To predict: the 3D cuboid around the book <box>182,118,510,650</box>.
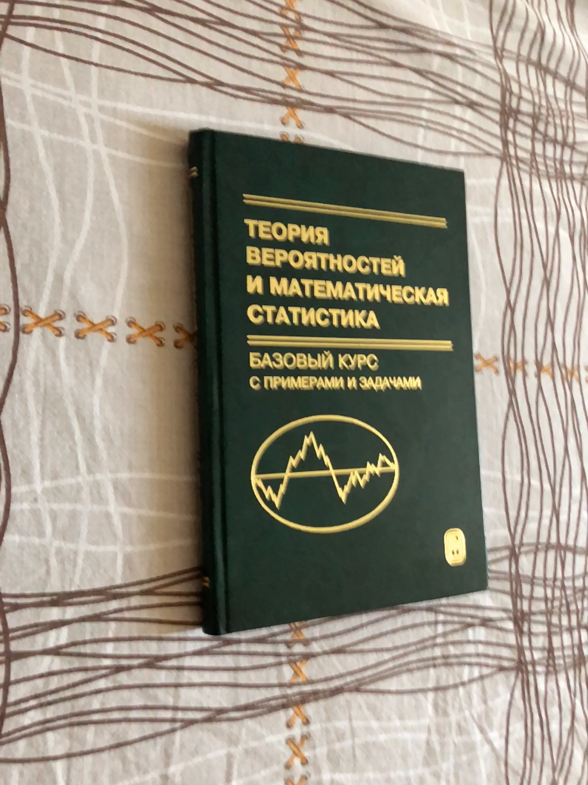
[{"bbox_3d":[0.027,-0.006,0.307,0.150,0.030,0.217,0,85,-24],"label":"book"}]
